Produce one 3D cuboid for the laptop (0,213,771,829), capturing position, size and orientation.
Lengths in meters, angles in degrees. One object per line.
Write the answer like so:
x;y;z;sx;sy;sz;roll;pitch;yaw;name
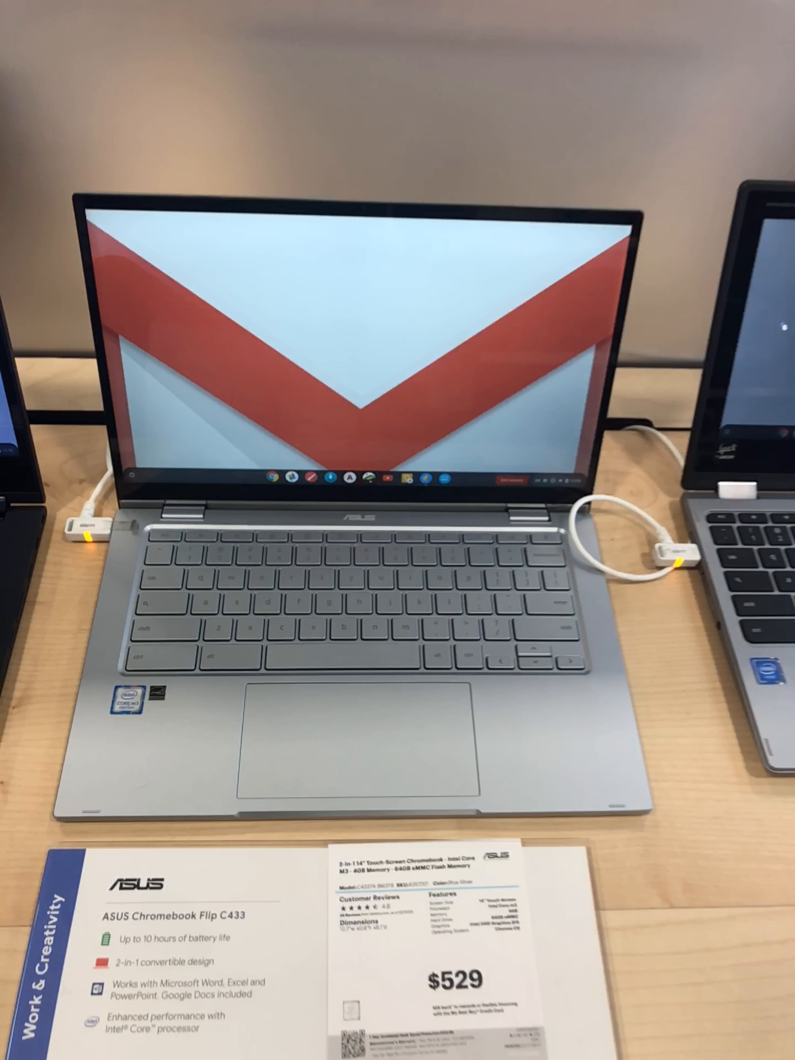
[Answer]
-0.020;-0.015;0.478;0.309;0.174;0.283;0;52;-4;laptop
